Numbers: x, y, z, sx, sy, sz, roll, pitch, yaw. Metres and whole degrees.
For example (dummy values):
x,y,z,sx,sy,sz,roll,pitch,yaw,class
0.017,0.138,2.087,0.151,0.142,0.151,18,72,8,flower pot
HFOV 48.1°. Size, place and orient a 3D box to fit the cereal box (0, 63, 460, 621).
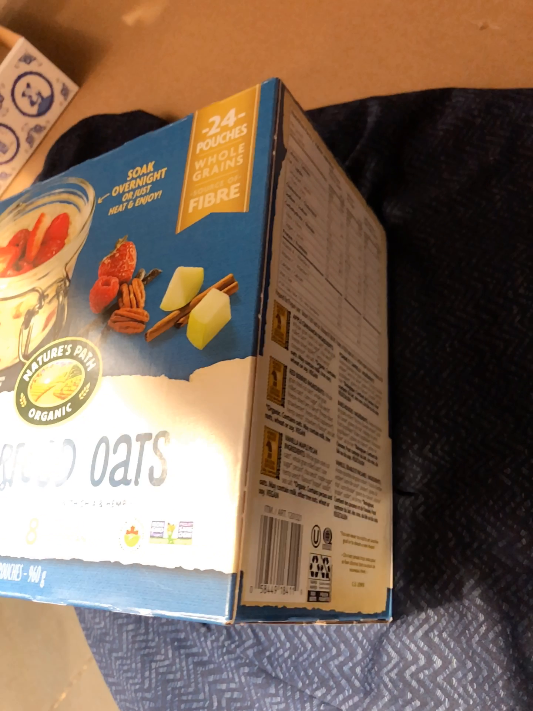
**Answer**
x,y,z,sx,sy,sz,roll,pitch,yaw,class
-0.036,0.016,0.360,0.251,0.149,0.240,-9,64,31,cereal box
